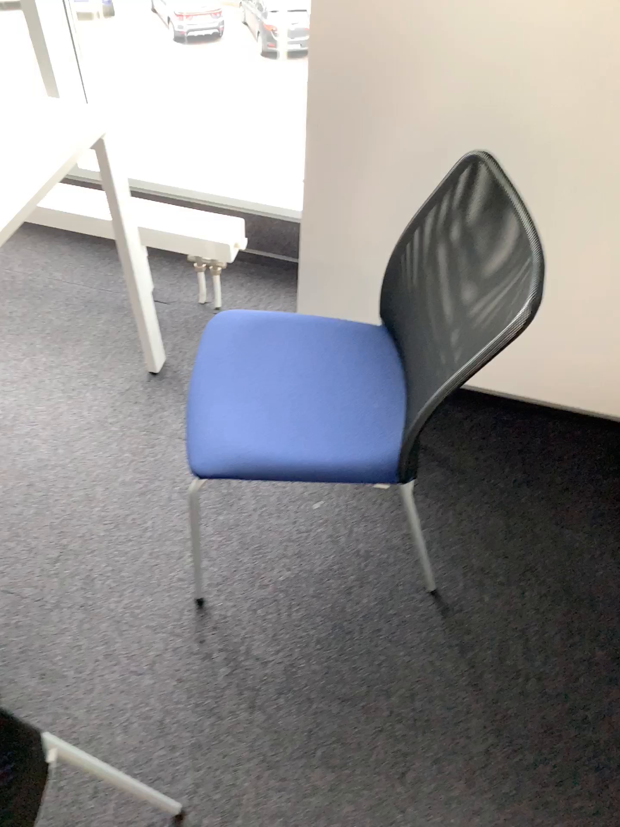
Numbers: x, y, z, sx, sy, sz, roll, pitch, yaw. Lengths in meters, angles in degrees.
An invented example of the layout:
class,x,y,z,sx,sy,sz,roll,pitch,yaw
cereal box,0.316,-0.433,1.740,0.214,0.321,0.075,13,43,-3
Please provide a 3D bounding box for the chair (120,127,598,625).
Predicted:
class,x,y,z,sx,sy,sz,roll,pitch,yaw
chair,0.031,-0.006,1.289,0.590,0.896,0.532,-1,51,-4
